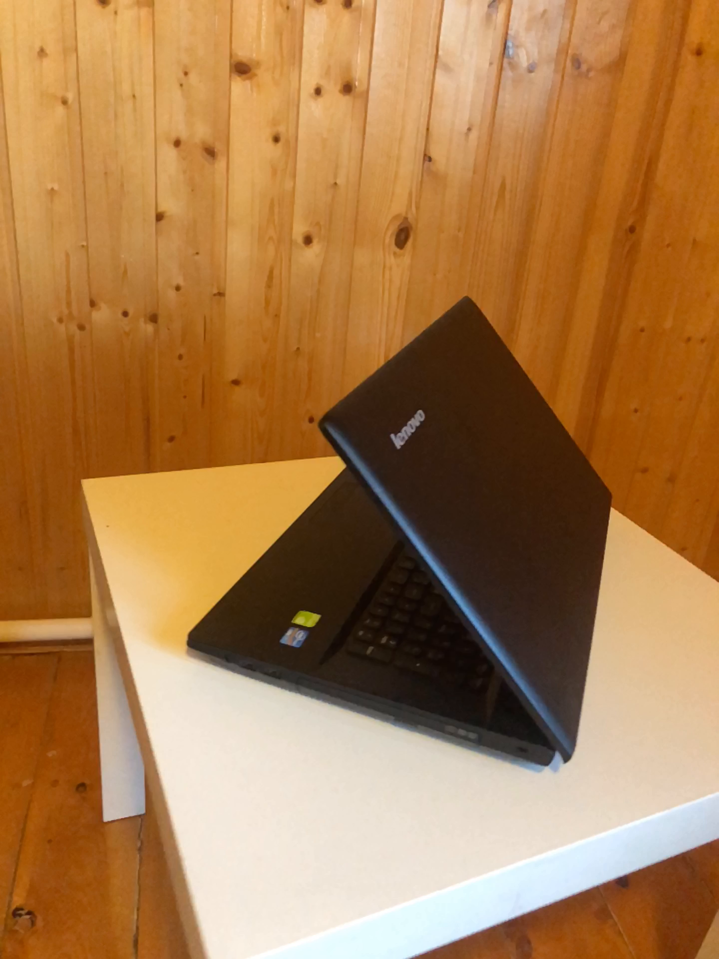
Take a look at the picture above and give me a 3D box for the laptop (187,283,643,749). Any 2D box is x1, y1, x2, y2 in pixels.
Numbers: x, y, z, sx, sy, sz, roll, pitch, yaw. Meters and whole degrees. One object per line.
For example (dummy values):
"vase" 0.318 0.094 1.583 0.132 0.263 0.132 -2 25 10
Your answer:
"laptop" 0.074 -0.018 0.660 0.260 0.179 0.391 13 27 16
